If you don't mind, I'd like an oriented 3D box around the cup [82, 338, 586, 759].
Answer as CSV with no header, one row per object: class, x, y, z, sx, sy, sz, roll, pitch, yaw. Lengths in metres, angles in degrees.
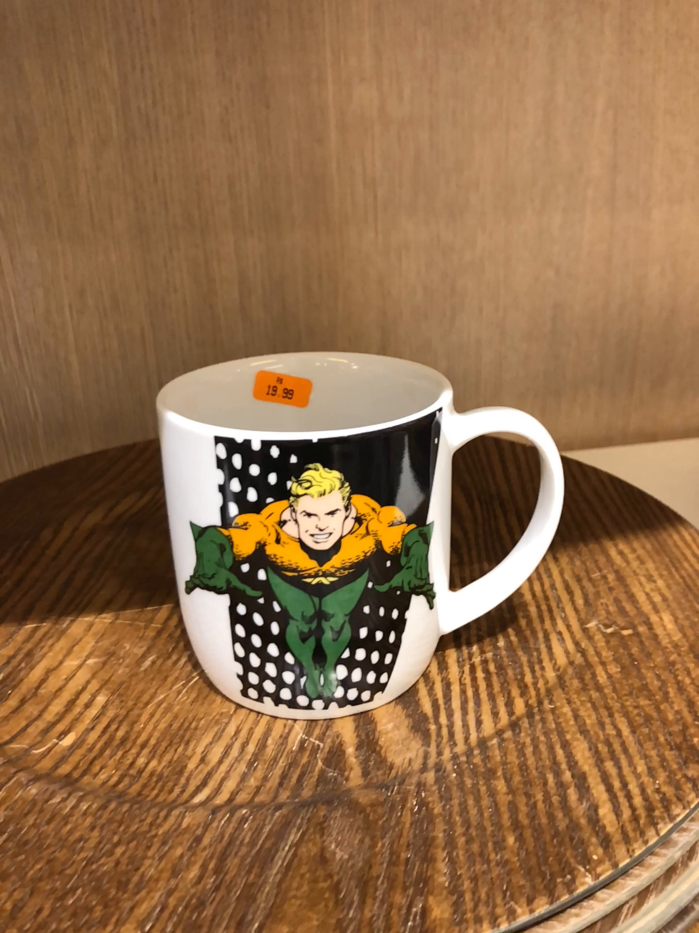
cup,-0.004,0.017,0.243,0.120,0.089,0.091,-4,20,-3
